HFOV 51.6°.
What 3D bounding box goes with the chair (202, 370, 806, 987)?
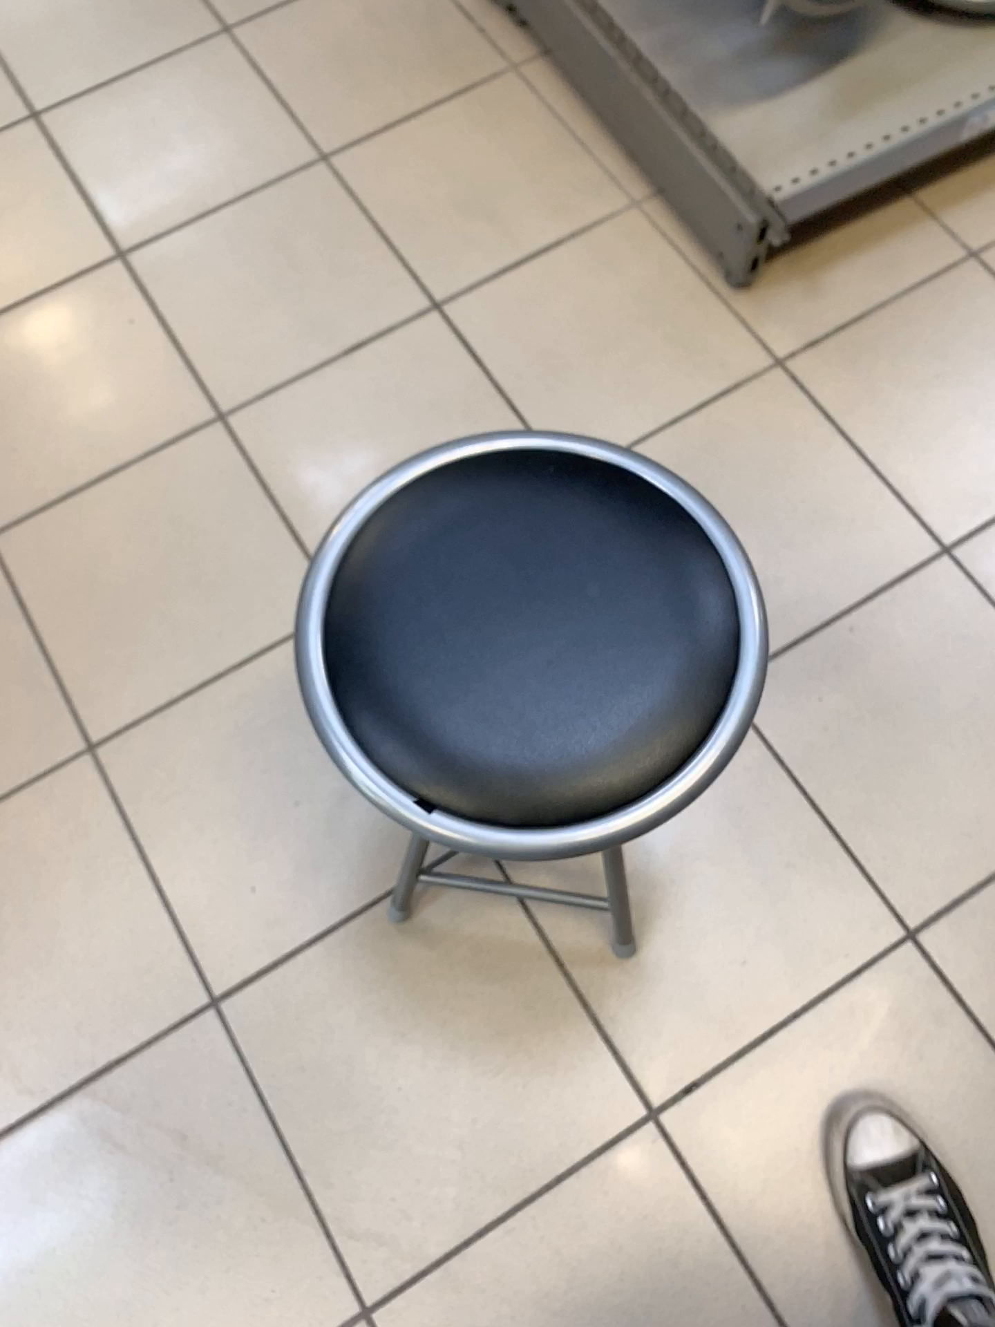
[{"bbox_3d":[0.025,0.045,0.832,0.328,0.403,0.335,8,69,6],"label":"chair"}]
